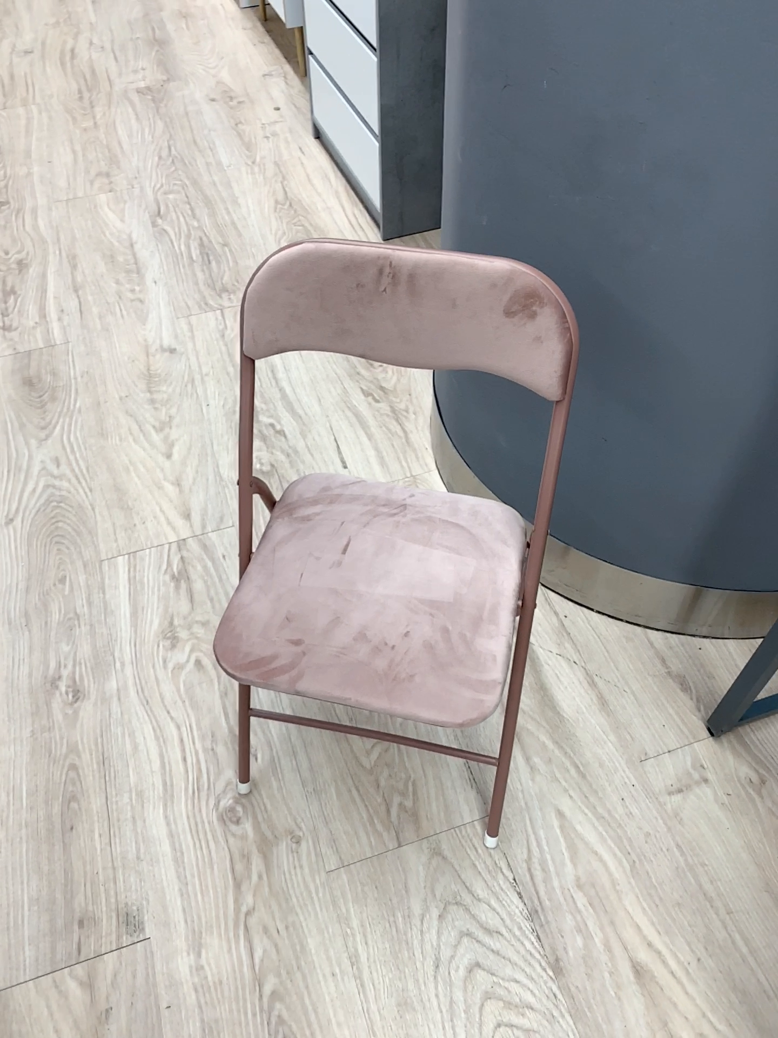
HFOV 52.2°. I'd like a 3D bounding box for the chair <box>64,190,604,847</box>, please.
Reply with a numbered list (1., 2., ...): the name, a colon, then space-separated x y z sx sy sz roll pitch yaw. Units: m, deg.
1. chair: -0.009 0.055 1.123 0.460 0.797 0.482 7 52 7
